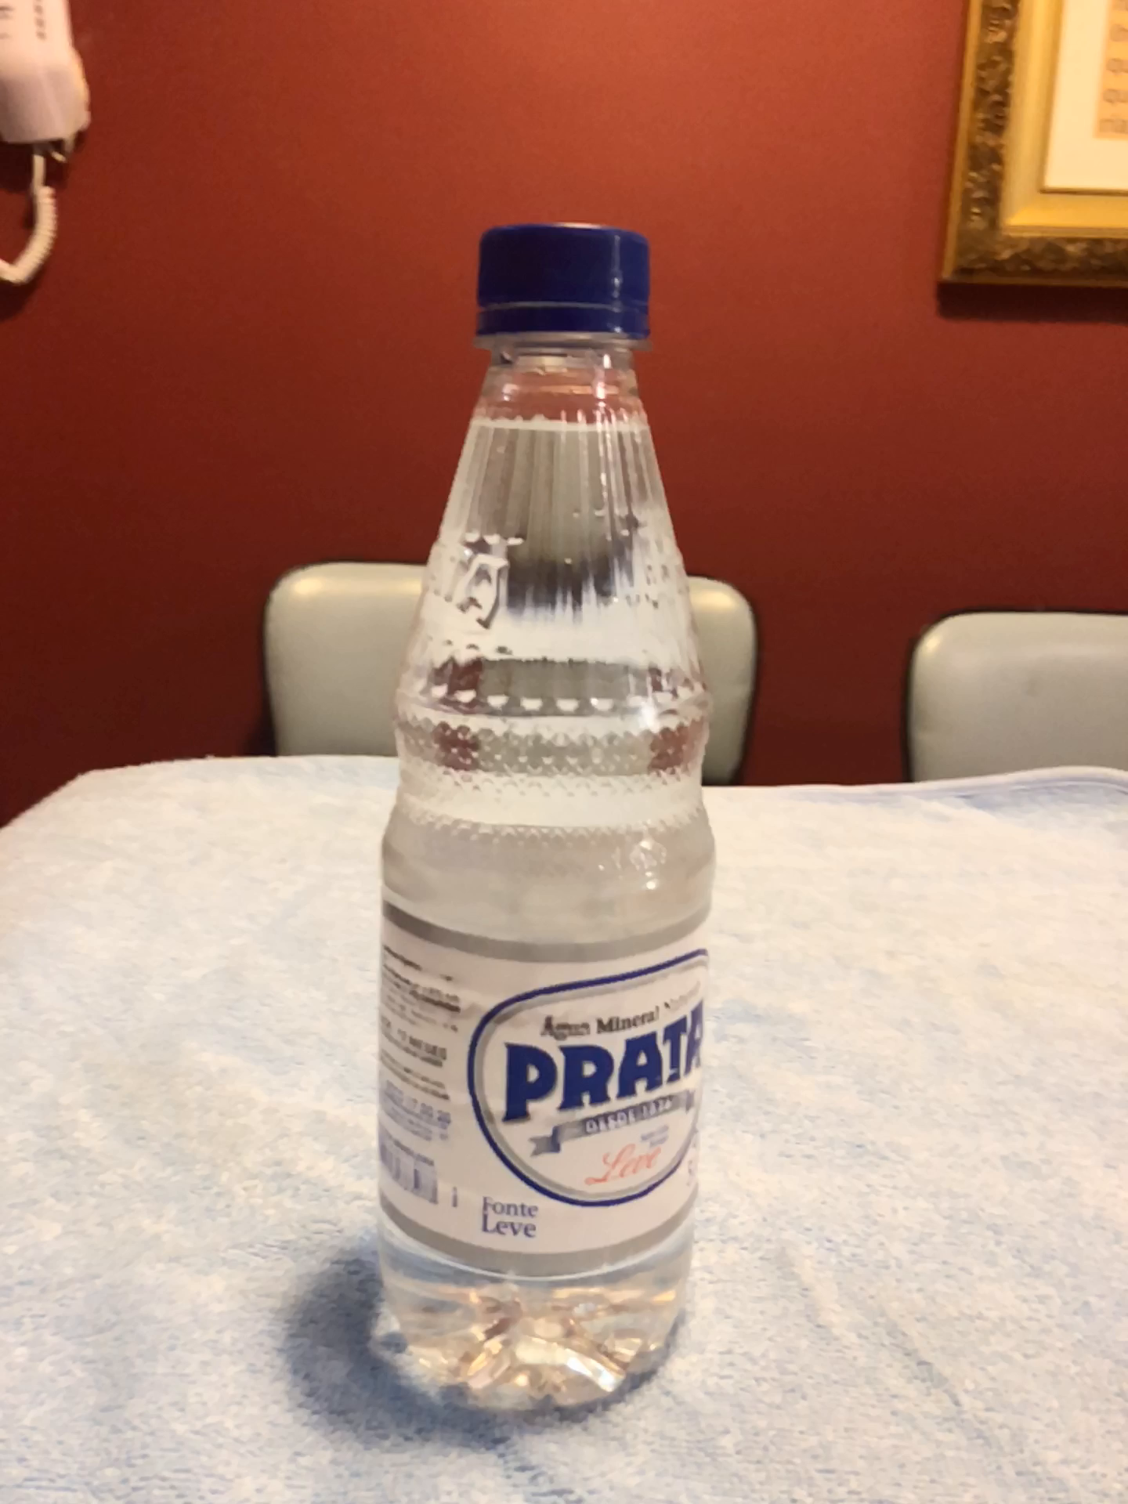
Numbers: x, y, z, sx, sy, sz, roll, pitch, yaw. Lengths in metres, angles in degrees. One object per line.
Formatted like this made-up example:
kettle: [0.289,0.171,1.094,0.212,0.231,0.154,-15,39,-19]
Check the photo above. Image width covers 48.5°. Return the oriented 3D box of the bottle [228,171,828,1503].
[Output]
bottle: [-0.011,0.016,0.244,0.080,0.219,0.070,-7,16,-32]
